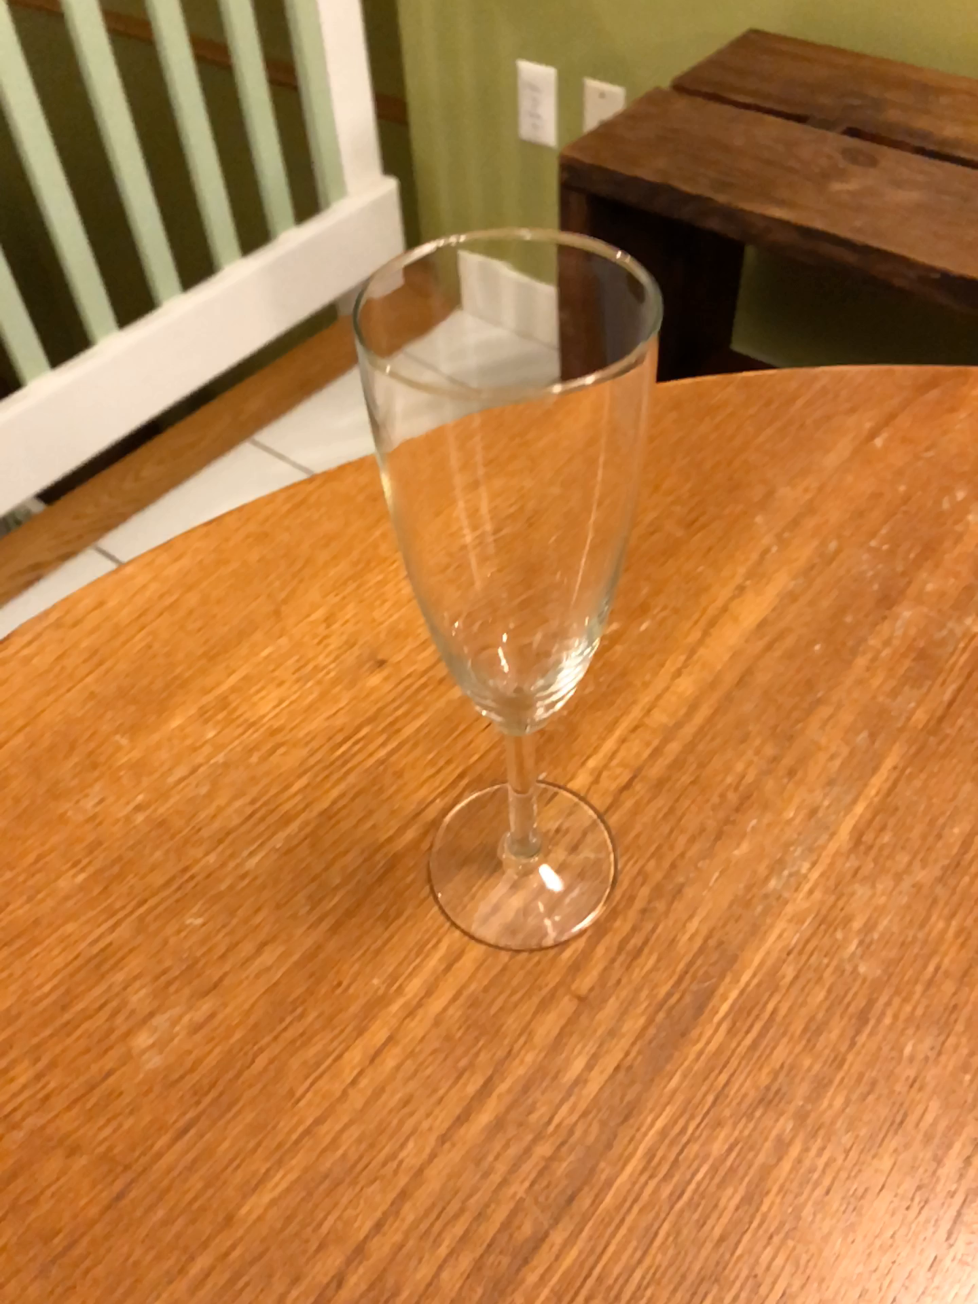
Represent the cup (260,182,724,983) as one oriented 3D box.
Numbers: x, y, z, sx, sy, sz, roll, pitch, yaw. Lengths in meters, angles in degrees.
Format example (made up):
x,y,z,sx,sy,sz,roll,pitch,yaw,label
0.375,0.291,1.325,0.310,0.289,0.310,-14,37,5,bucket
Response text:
x,y,z,sx,sy,sz,roll,pitch,yaw,label
0.008,-0.001,0.297,0.066,0.215,0.074,20,53,20,cup
